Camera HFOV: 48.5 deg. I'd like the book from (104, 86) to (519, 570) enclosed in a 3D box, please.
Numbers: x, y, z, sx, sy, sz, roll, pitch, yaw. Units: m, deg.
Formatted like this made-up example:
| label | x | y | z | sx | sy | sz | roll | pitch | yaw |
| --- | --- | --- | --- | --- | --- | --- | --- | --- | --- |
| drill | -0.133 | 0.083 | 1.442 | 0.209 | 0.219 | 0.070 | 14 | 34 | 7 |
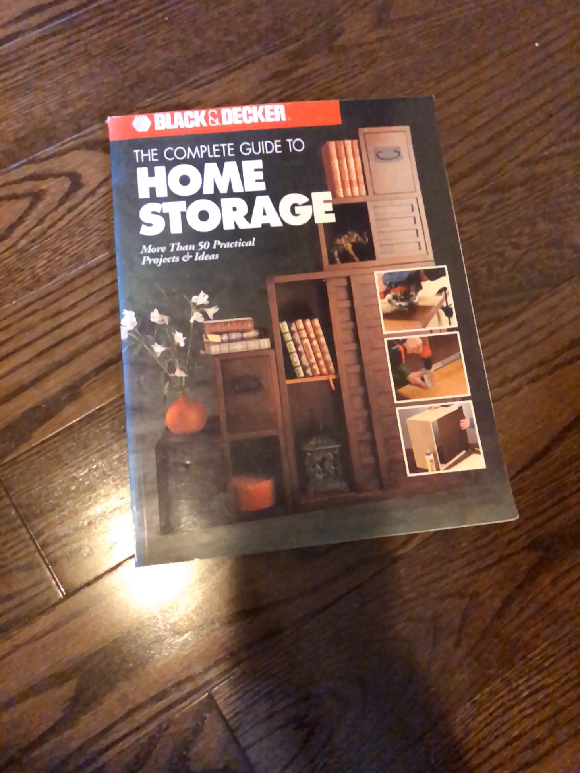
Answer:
| label | x | y | z | sx | sy | sz | roll | pitch | yaw |
| --- | --- | --- | --- | --- | --- | --- | --- | --- | --- |
| book | 0.005 | -0.049 | 0.398 | 0.215 | 0.020 | 0.287 | -6 | 77 | -6 |
